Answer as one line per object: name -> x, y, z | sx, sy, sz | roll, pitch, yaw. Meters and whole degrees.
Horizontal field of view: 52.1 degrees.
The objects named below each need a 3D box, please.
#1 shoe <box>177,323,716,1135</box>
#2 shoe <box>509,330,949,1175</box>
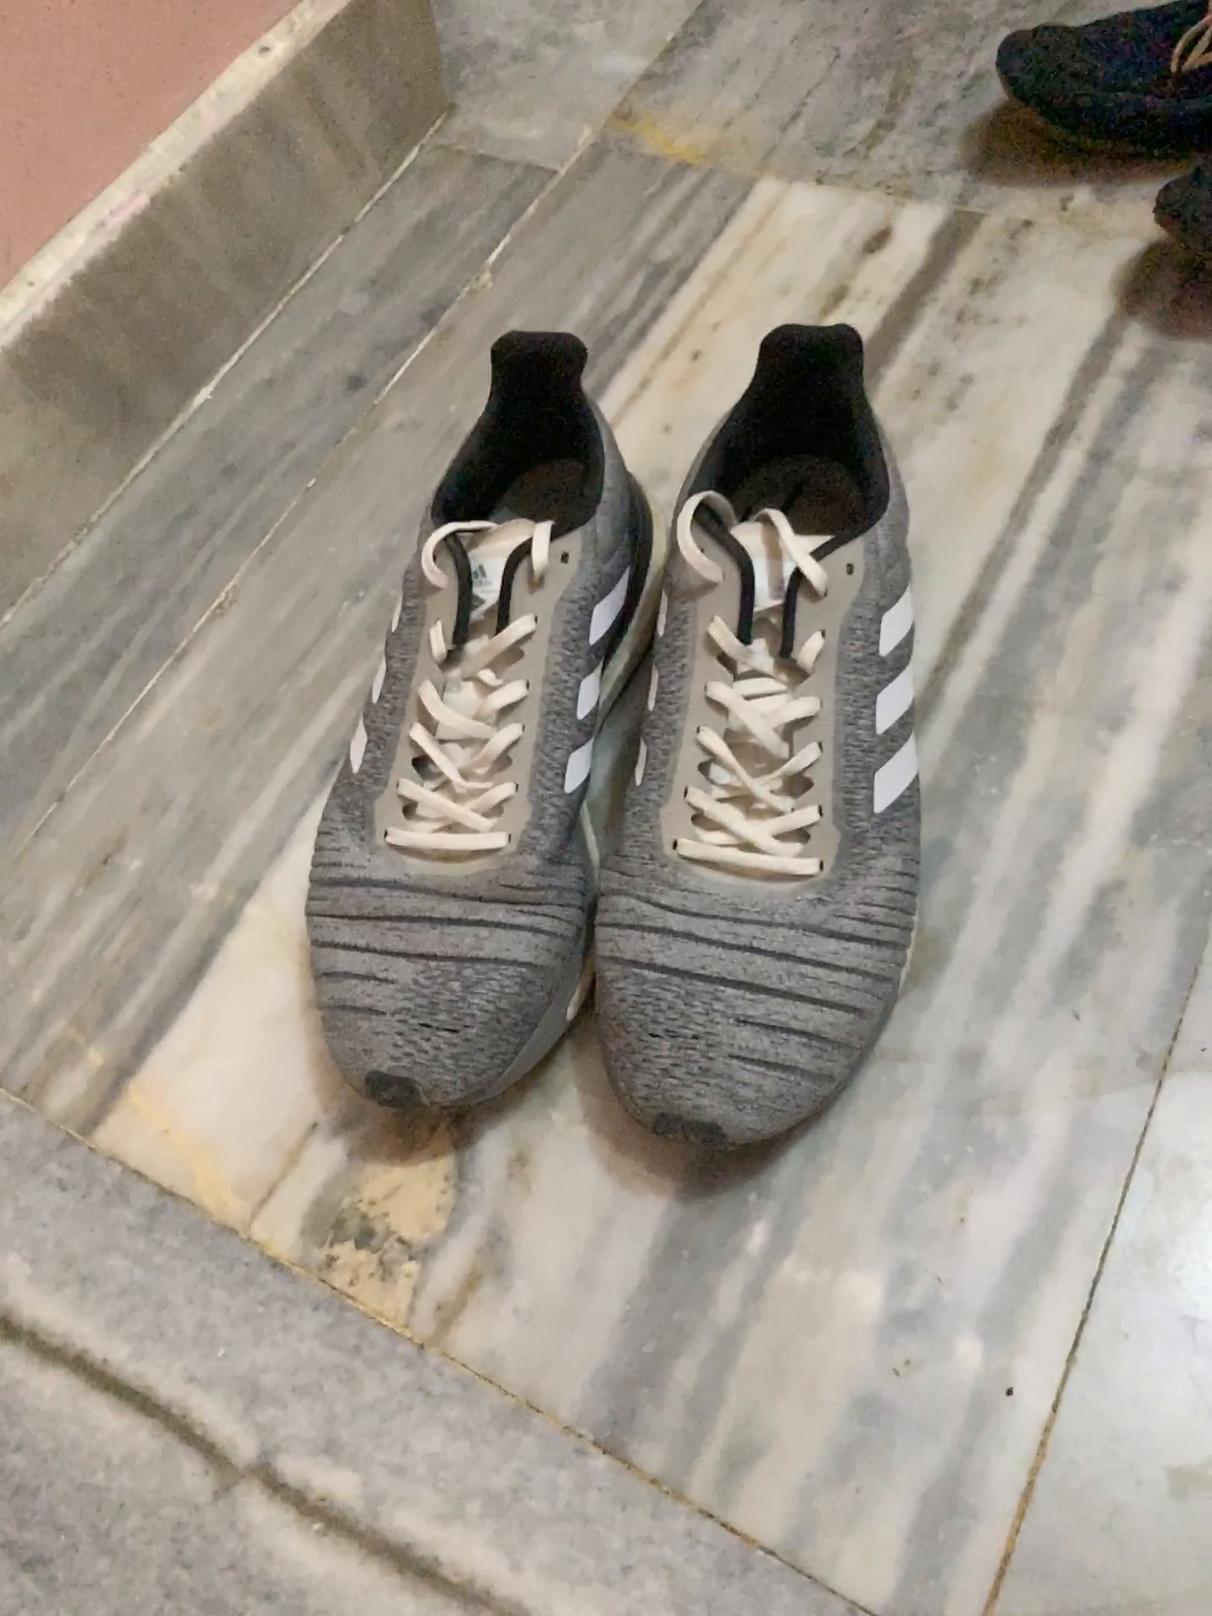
shoe -> -0.040, -0.048, 0.470 | 0.110, 0.080, 0.309 | 5, 60, 14
shoe -> 0.059, -0.035, 0.451 | 0.120, 0.090, 0.300 | 2, 59, 12
